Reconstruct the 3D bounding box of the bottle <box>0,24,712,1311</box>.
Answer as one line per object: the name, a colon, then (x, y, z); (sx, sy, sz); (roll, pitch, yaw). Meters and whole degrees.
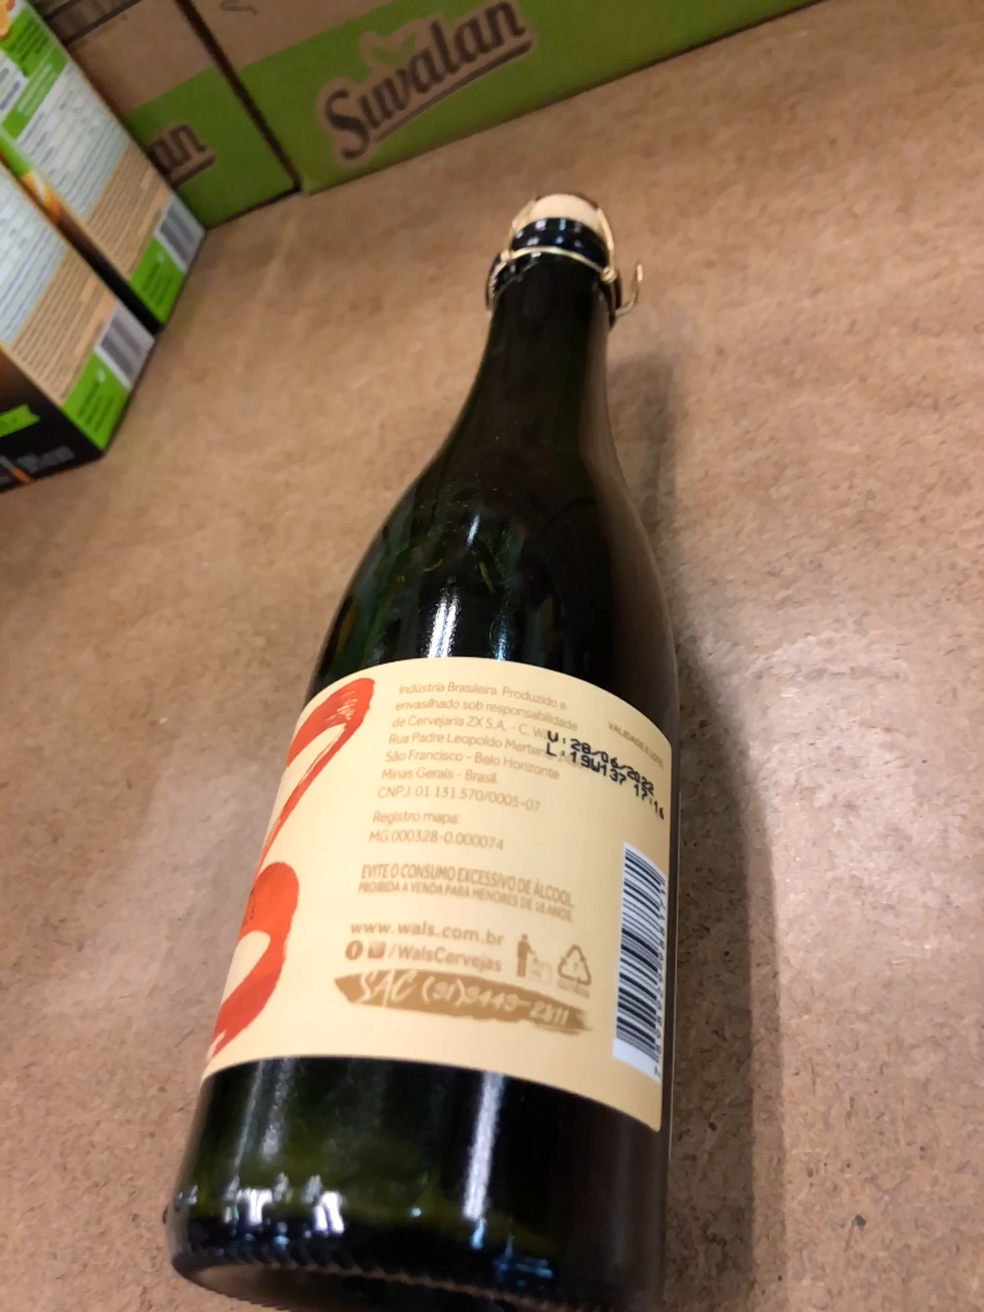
bottle: (0.001, -0.024, 0.214); (0.070, 0.050, 0.271); (-10, 49, 24)
